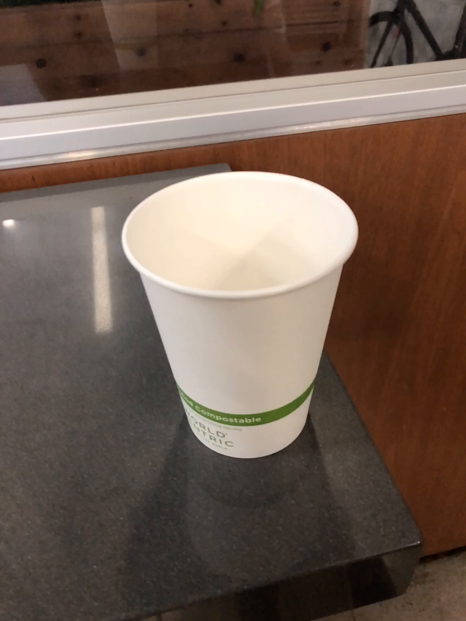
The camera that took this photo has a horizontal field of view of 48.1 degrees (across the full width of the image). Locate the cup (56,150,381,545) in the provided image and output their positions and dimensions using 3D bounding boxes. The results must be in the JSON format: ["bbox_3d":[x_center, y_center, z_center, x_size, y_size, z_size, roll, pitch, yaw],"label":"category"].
[{"bbox_3d":[0.001,0.012,0.222,0.080,0.119,0.090,19,43,25],"label":"cup"}]
